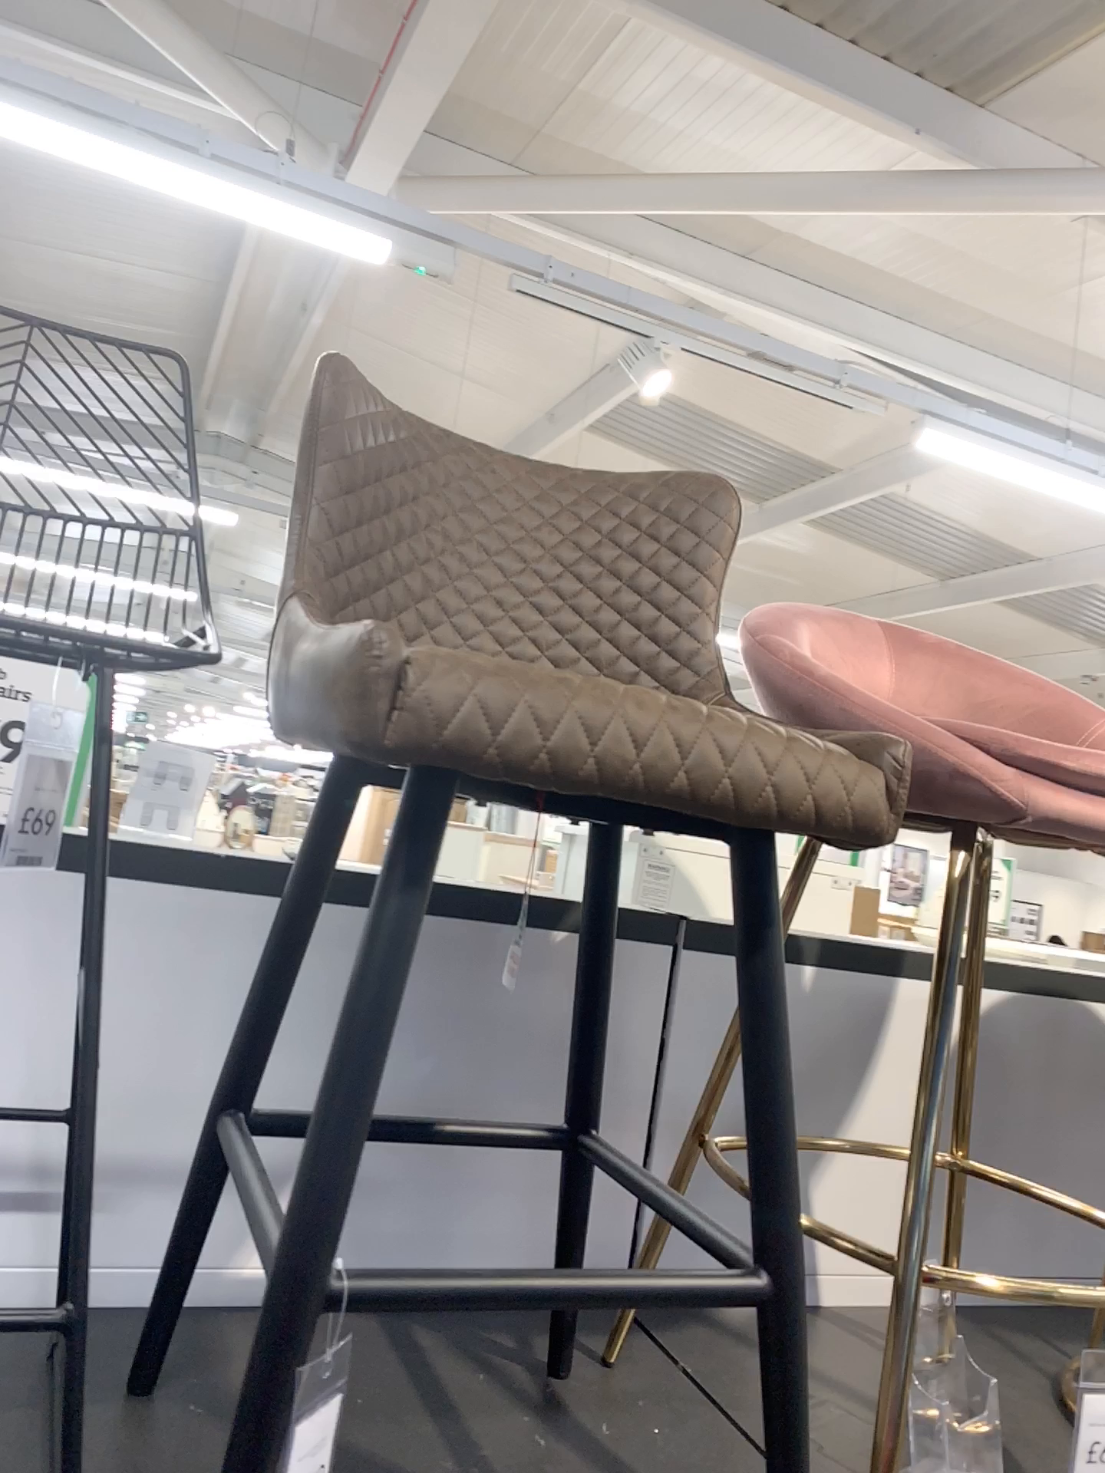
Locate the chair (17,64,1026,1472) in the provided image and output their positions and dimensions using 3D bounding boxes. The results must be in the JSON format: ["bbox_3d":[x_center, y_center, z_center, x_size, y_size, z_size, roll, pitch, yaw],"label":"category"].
[{"bbox_3d":[-0.047,0.124,0.969,0.535,0.998,0.465,13,-4,-29],"label":"chair"}]
